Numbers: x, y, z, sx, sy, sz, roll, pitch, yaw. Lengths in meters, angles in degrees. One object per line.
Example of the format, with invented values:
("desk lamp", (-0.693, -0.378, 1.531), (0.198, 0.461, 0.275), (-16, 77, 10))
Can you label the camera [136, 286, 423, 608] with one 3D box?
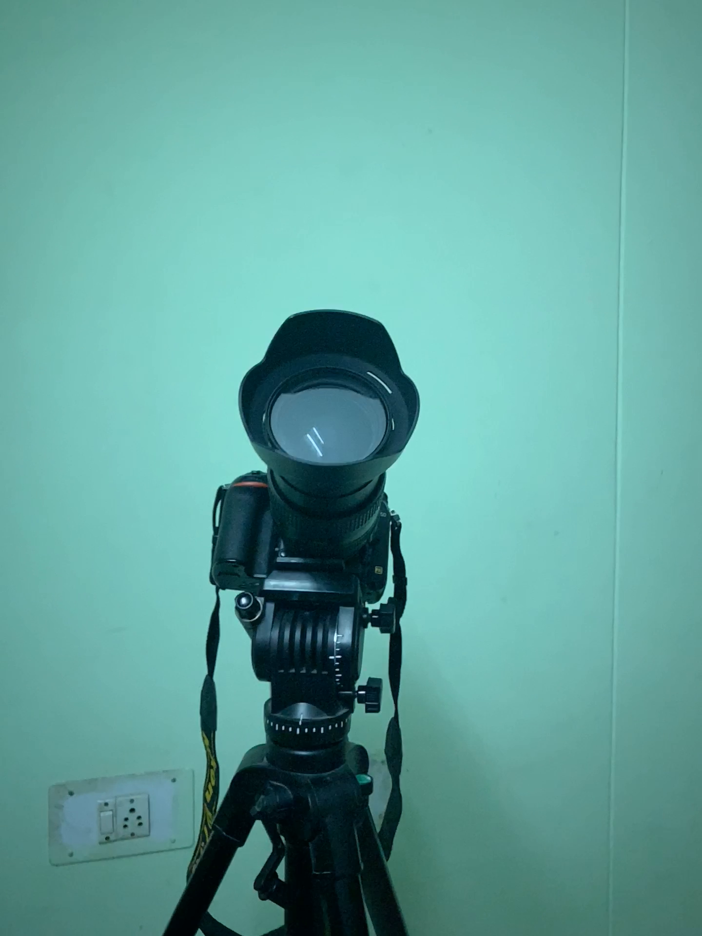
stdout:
("camera", (-0.039, 0.003, 0.520), (0.151, 0.121, 0.247), (3, -27, 0))
